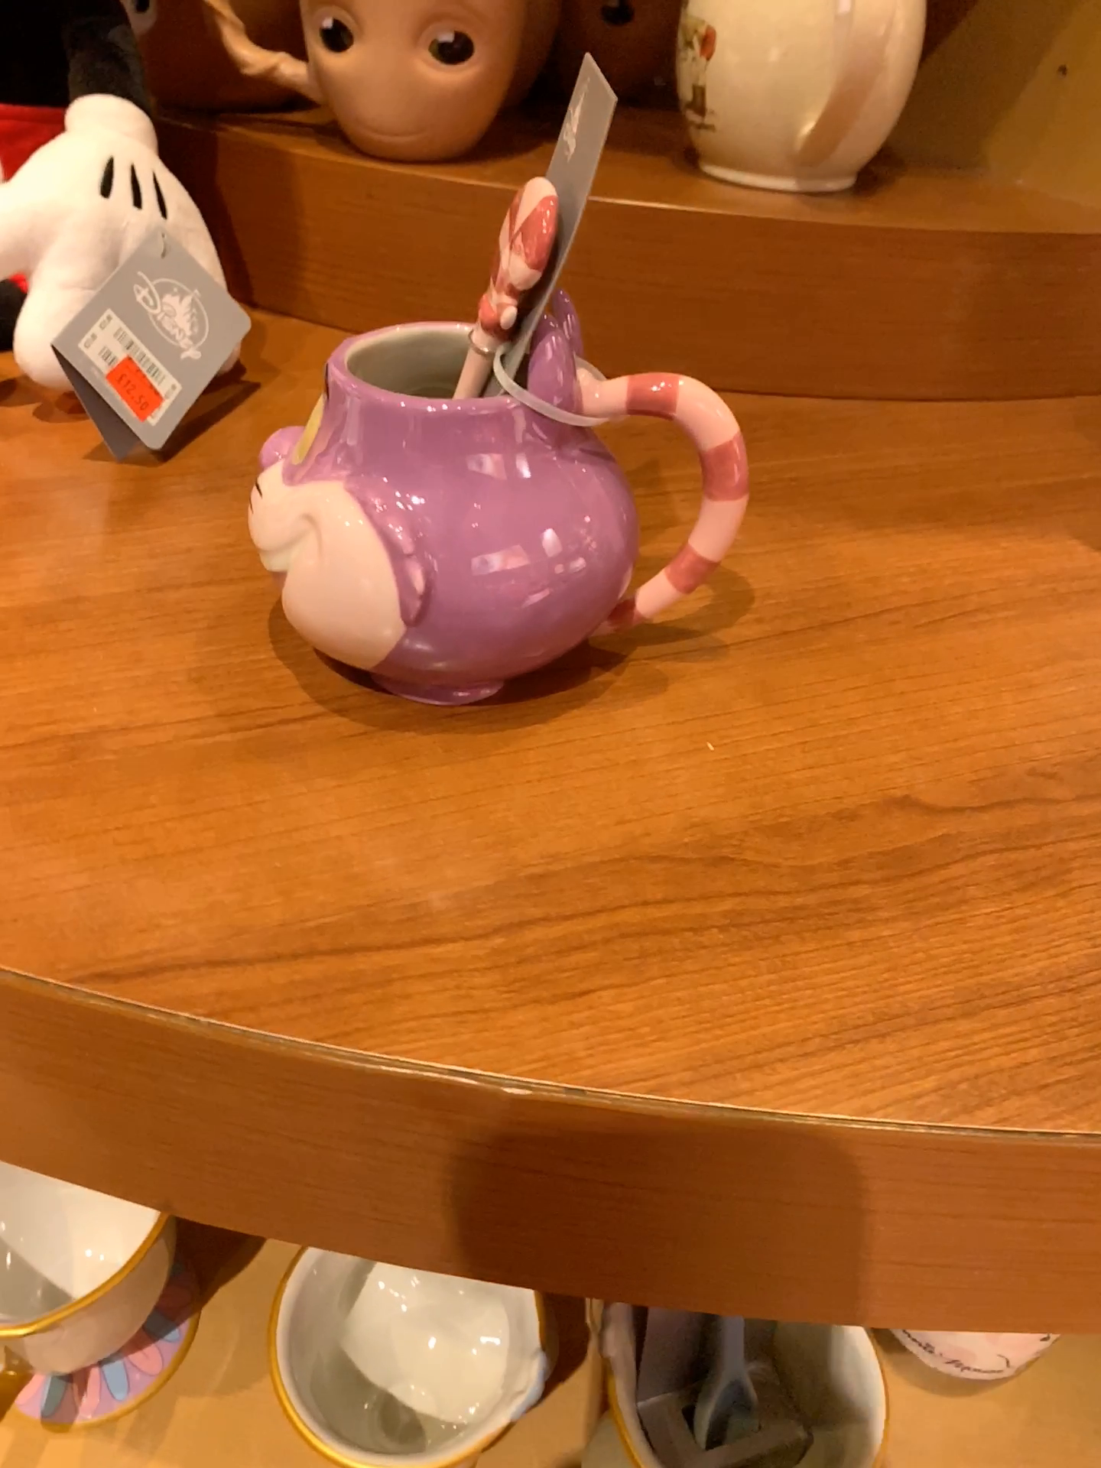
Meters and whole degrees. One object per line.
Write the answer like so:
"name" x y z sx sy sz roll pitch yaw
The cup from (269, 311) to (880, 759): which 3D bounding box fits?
"cup" -0.004 -0.063 0.326 0.142 0.077 0.115 -4 37 -12
